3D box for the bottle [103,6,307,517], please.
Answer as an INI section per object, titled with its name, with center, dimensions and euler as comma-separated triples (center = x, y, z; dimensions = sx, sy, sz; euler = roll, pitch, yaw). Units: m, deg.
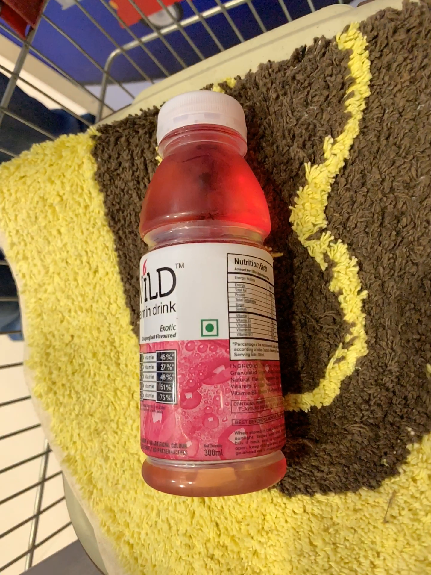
[bottle]
center = -0.006, -0.010, 0.183
dimensions = 0.060, 0.050, 0.170
euler = -15, 71, 52
